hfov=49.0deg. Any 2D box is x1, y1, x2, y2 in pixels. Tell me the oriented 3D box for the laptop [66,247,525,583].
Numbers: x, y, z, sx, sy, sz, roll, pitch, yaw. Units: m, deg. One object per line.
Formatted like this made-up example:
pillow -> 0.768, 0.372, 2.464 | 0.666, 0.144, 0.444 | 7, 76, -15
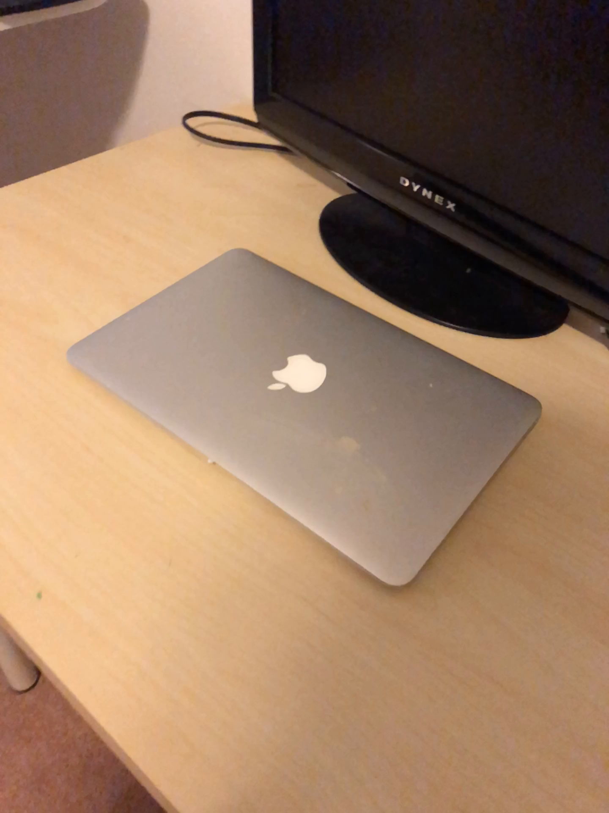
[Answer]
laptop -> -0.008, -0.019, 0.484 | 0.279, 0.005, 0.181 | 32, 53, 23
